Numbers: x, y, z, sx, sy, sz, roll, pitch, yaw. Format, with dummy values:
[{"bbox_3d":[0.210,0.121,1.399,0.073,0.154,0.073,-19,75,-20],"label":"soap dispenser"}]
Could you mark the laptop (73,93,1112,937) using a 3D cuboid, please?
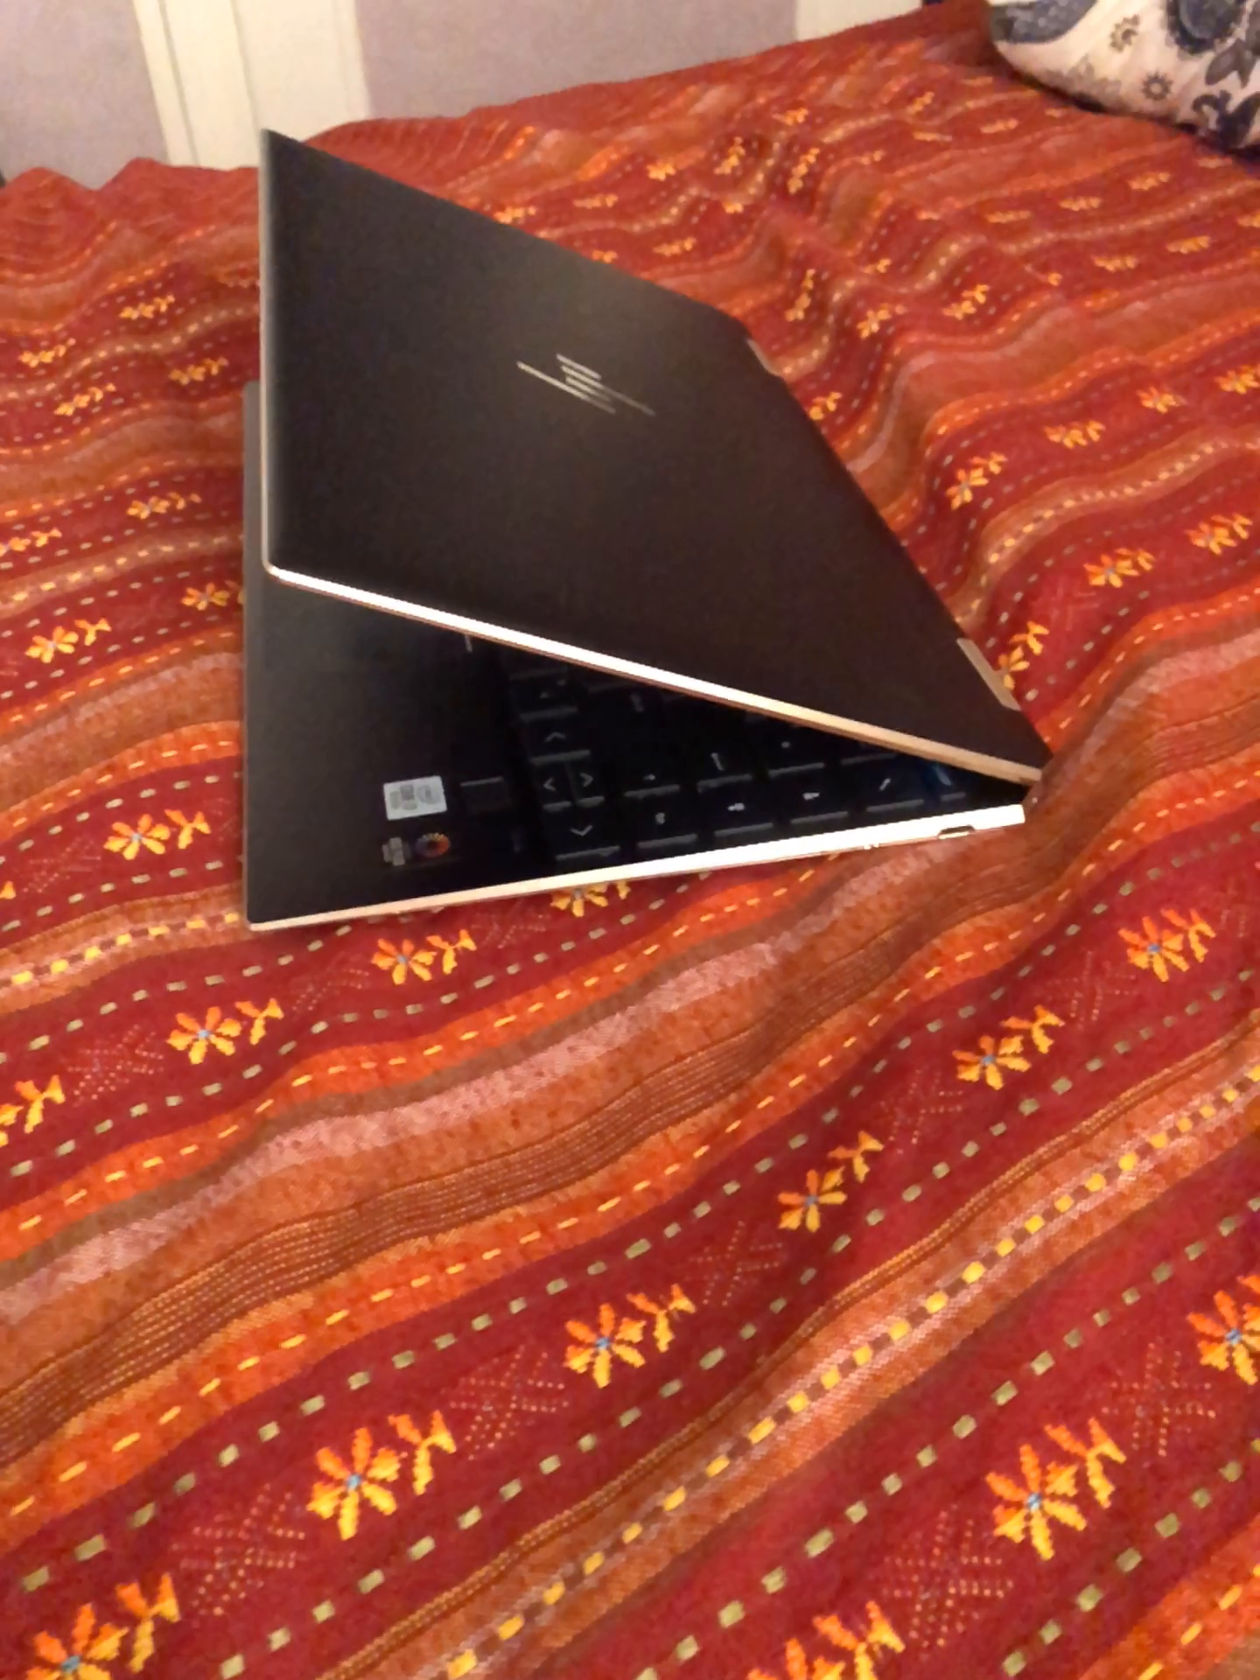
[{"bbox_3d":[-0.022,-0.135,0.421,0.202,0.101,0.327,-6,39,-10],"label":"laptop"}]
